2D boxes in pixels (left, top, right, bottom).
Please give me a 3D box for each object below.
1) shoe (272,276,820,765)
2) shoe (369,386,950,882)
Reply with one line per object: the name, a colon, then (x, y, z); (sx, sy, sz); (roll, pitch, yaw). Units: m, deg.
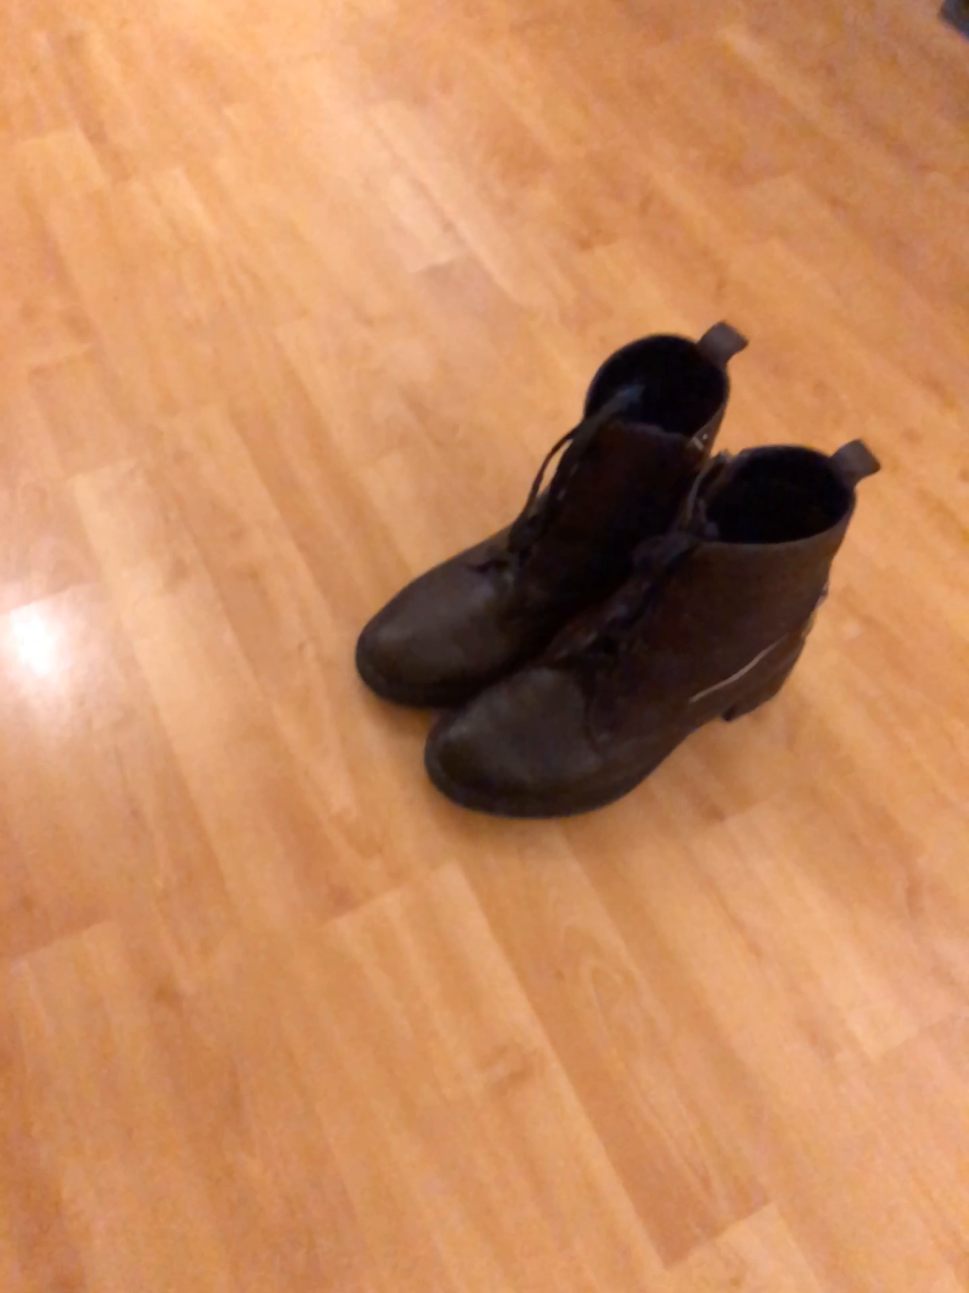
shoe: (0.033, -0.072, 0.640); (0.270, 0.179, 0.110); (-25, 62, -17)
shoe: (0.087, -0.004, 0.608); (0.270, 0.179, 0.110); (-23, 61, -15)
